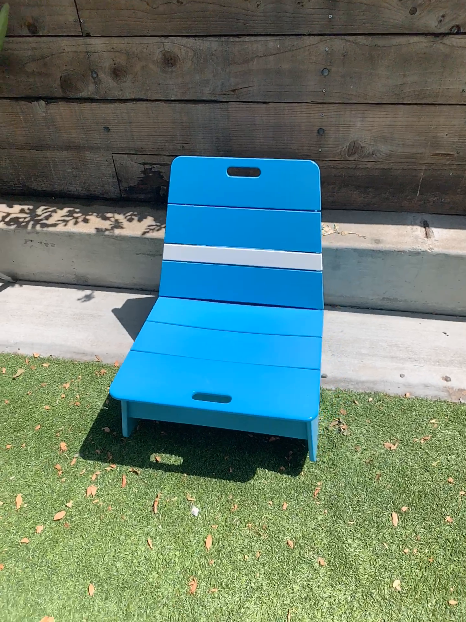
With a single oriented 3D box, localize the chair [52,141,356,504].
[{"bbox_3d":[0.007,0.024,1.449,0.591,0.746,0.723,7,47,11],"label":"chair"}]
